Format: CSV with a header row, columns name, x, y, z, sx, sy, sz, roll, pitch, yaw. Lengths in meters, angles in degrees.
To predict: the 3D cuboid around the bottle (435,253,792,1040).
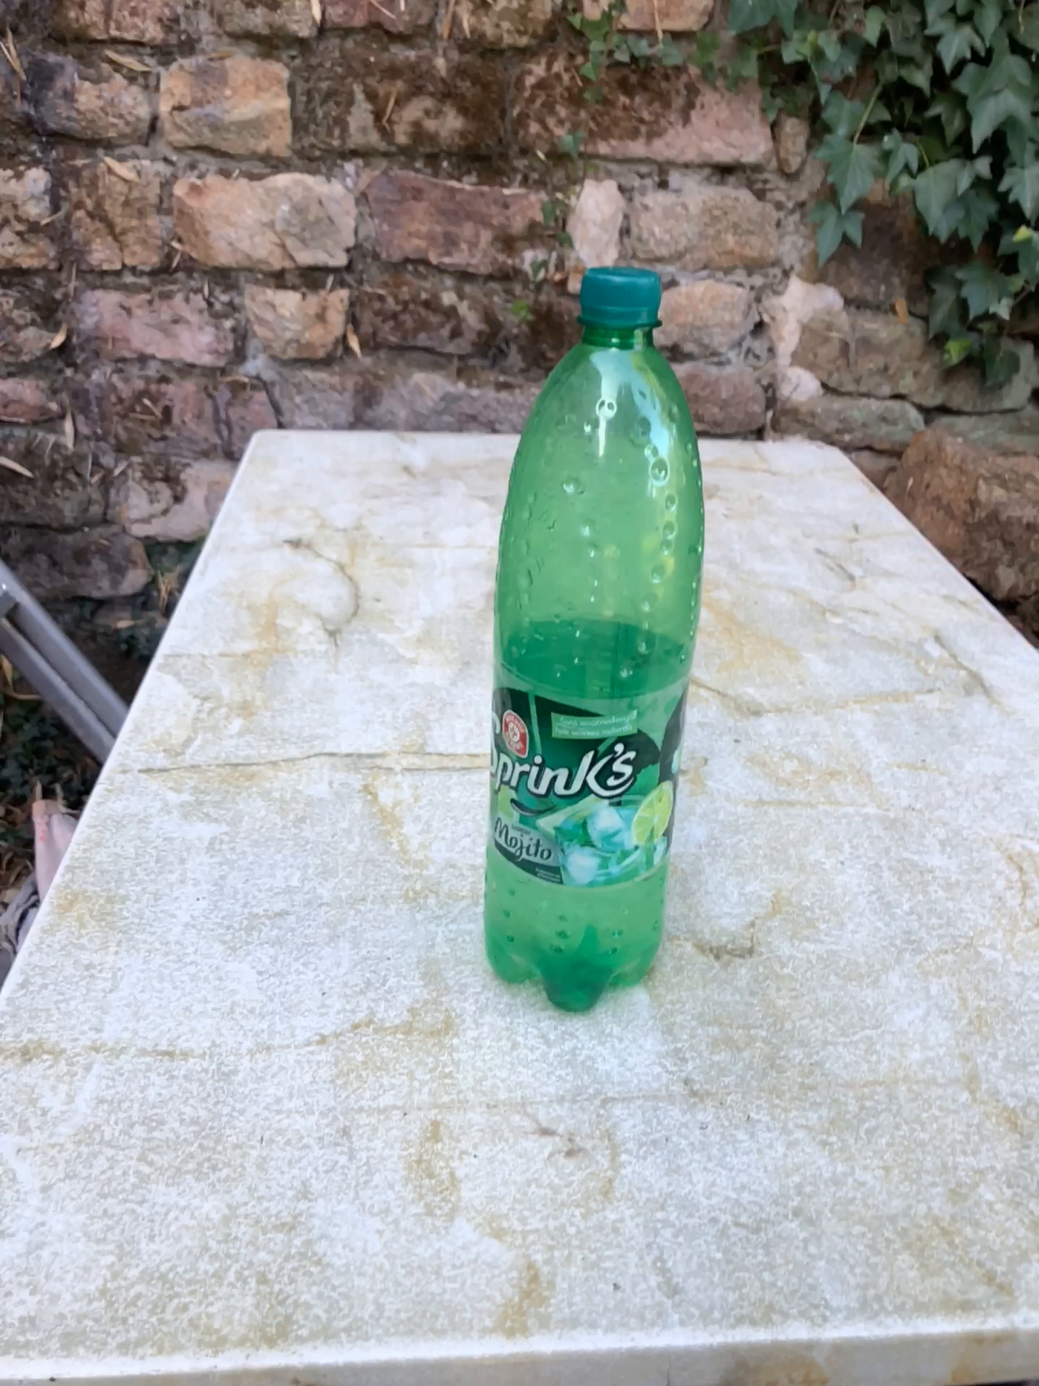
name,x,y,z,sx,sy,sz,roll,pitch,yaw
bottle,0.029,-0.013,0.486,0.090,0.308,0.091,2,29,-1
